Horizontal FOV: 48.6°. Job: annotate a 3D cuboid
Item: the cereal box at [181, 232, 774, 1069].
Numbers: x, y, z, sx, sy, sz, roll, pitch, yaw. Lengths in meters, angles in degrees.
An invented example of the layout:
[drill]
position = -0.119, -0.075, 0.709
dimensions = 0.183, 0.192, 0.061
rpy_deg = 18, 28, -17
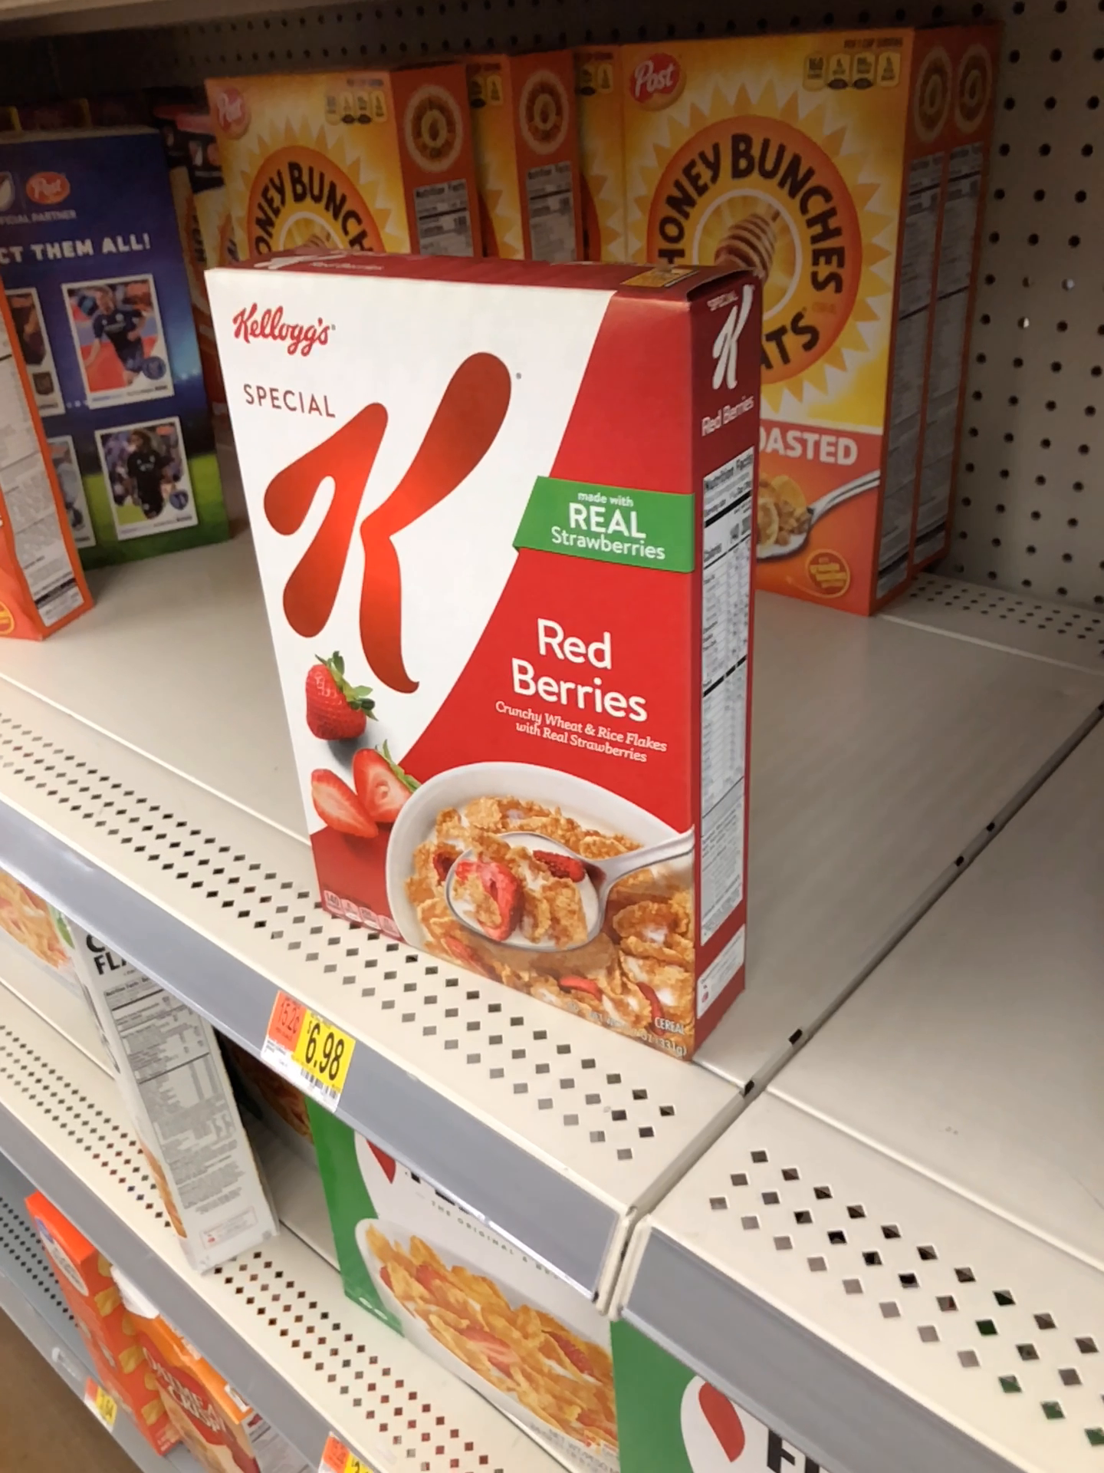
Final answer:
[cereal box]
position = -0.019, -0.031, 0.463
dimensions = 0.200, 0.289, 0.050
rpy_deg = 16, 37, 32
